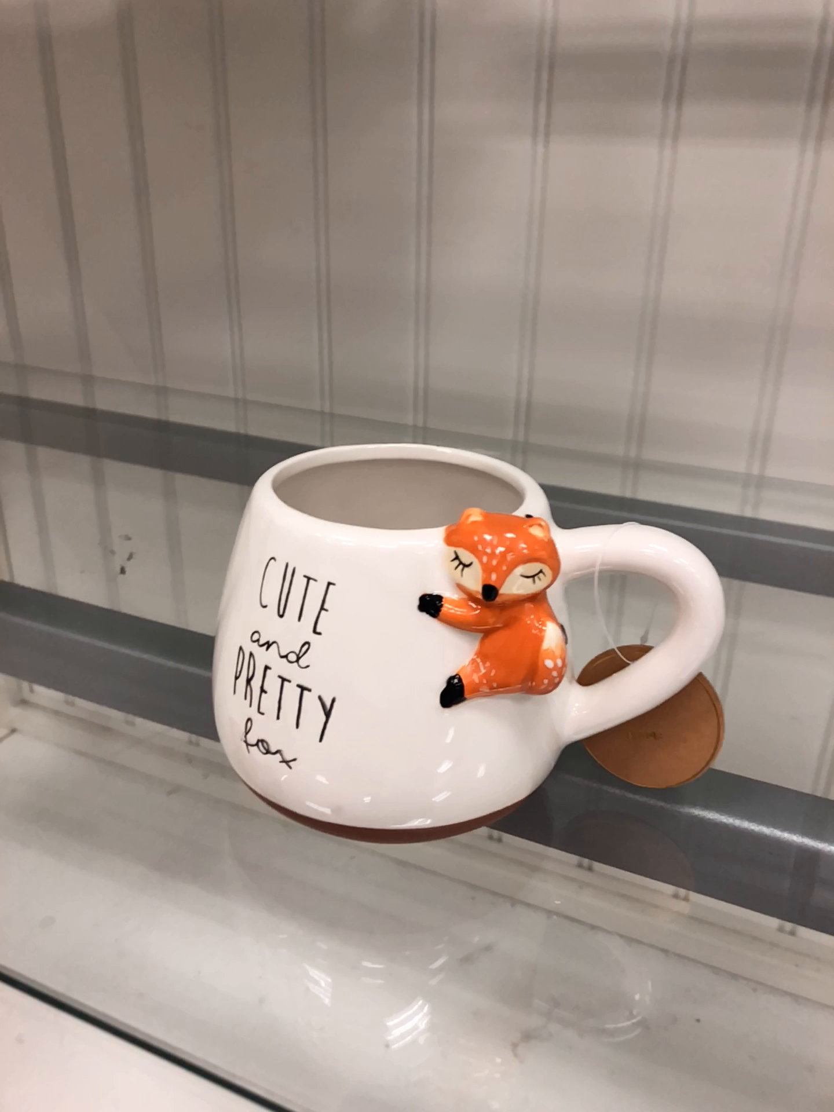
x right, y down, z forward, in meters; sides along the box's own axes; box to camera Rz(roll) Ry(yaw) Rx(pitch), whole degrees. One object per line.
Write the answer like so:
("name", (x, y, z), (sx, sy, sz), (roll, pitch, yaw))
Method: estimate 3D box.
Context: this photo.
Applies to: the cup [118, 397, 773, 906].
("cup", (0.010, 0.016, 0.262), (0.143, 0.089, 0.101), (6, 24, 9))
